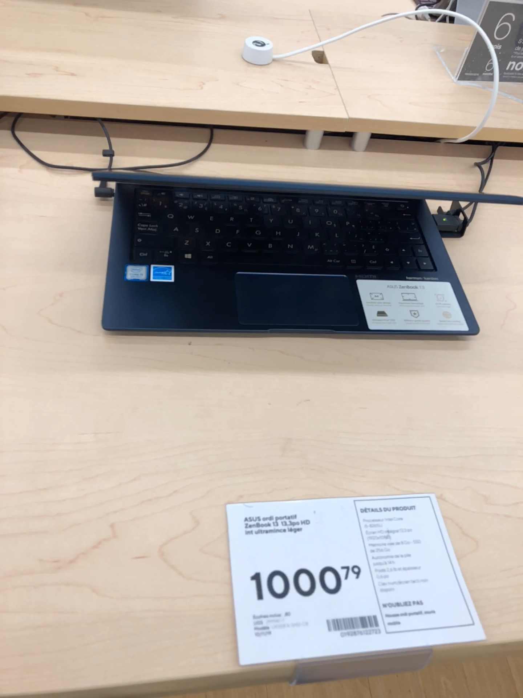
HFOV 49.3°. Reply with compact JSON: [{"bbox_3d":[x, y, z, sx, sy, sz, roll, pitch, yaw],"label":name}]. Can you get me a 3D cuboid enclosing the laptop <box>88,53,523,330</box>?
[{"bbox_3d":[0.028,-0.126,0.464,0.299,0.107,0.196,0,52,-10],"label":"laptop"}]
